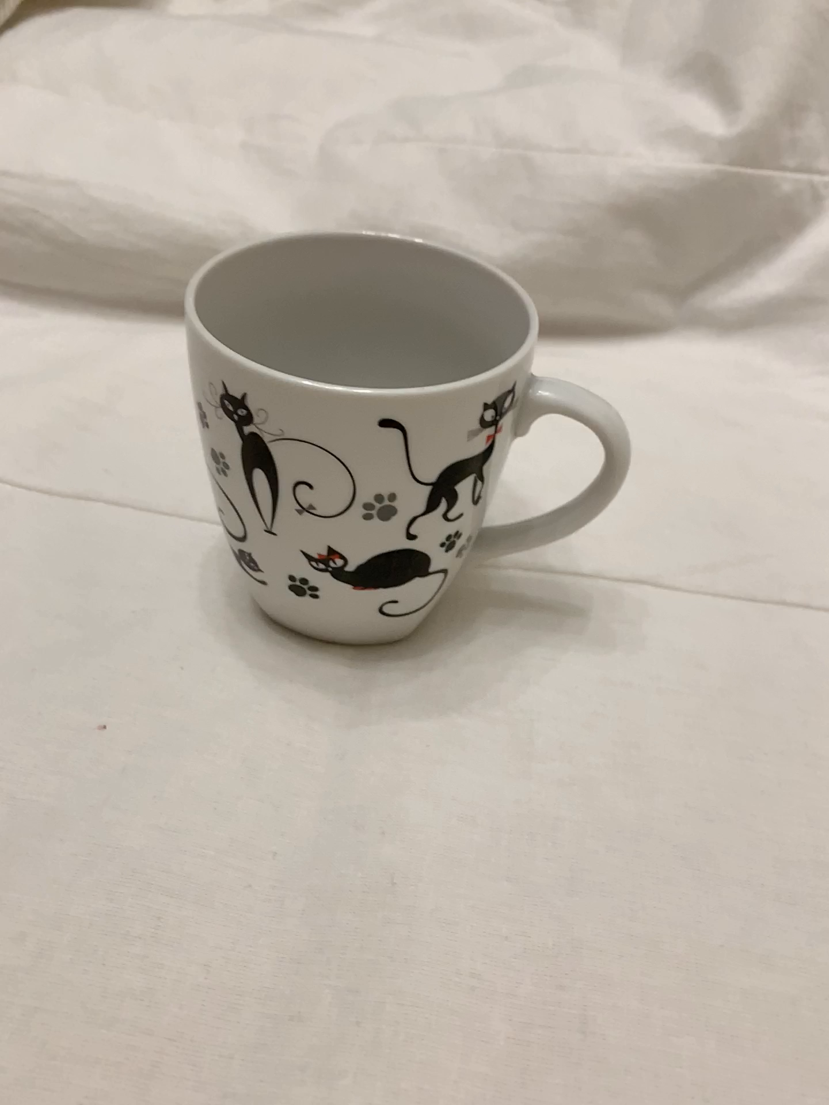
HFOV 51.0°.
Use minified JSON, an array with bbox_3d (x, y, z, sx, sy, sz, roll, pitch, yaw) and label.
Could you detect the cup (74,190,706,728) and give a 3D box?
[{"bbox_3d":[-0.001,-0.028,0.217,0.119,0.077,0.081,15,44,12],"label":"cup"}]
